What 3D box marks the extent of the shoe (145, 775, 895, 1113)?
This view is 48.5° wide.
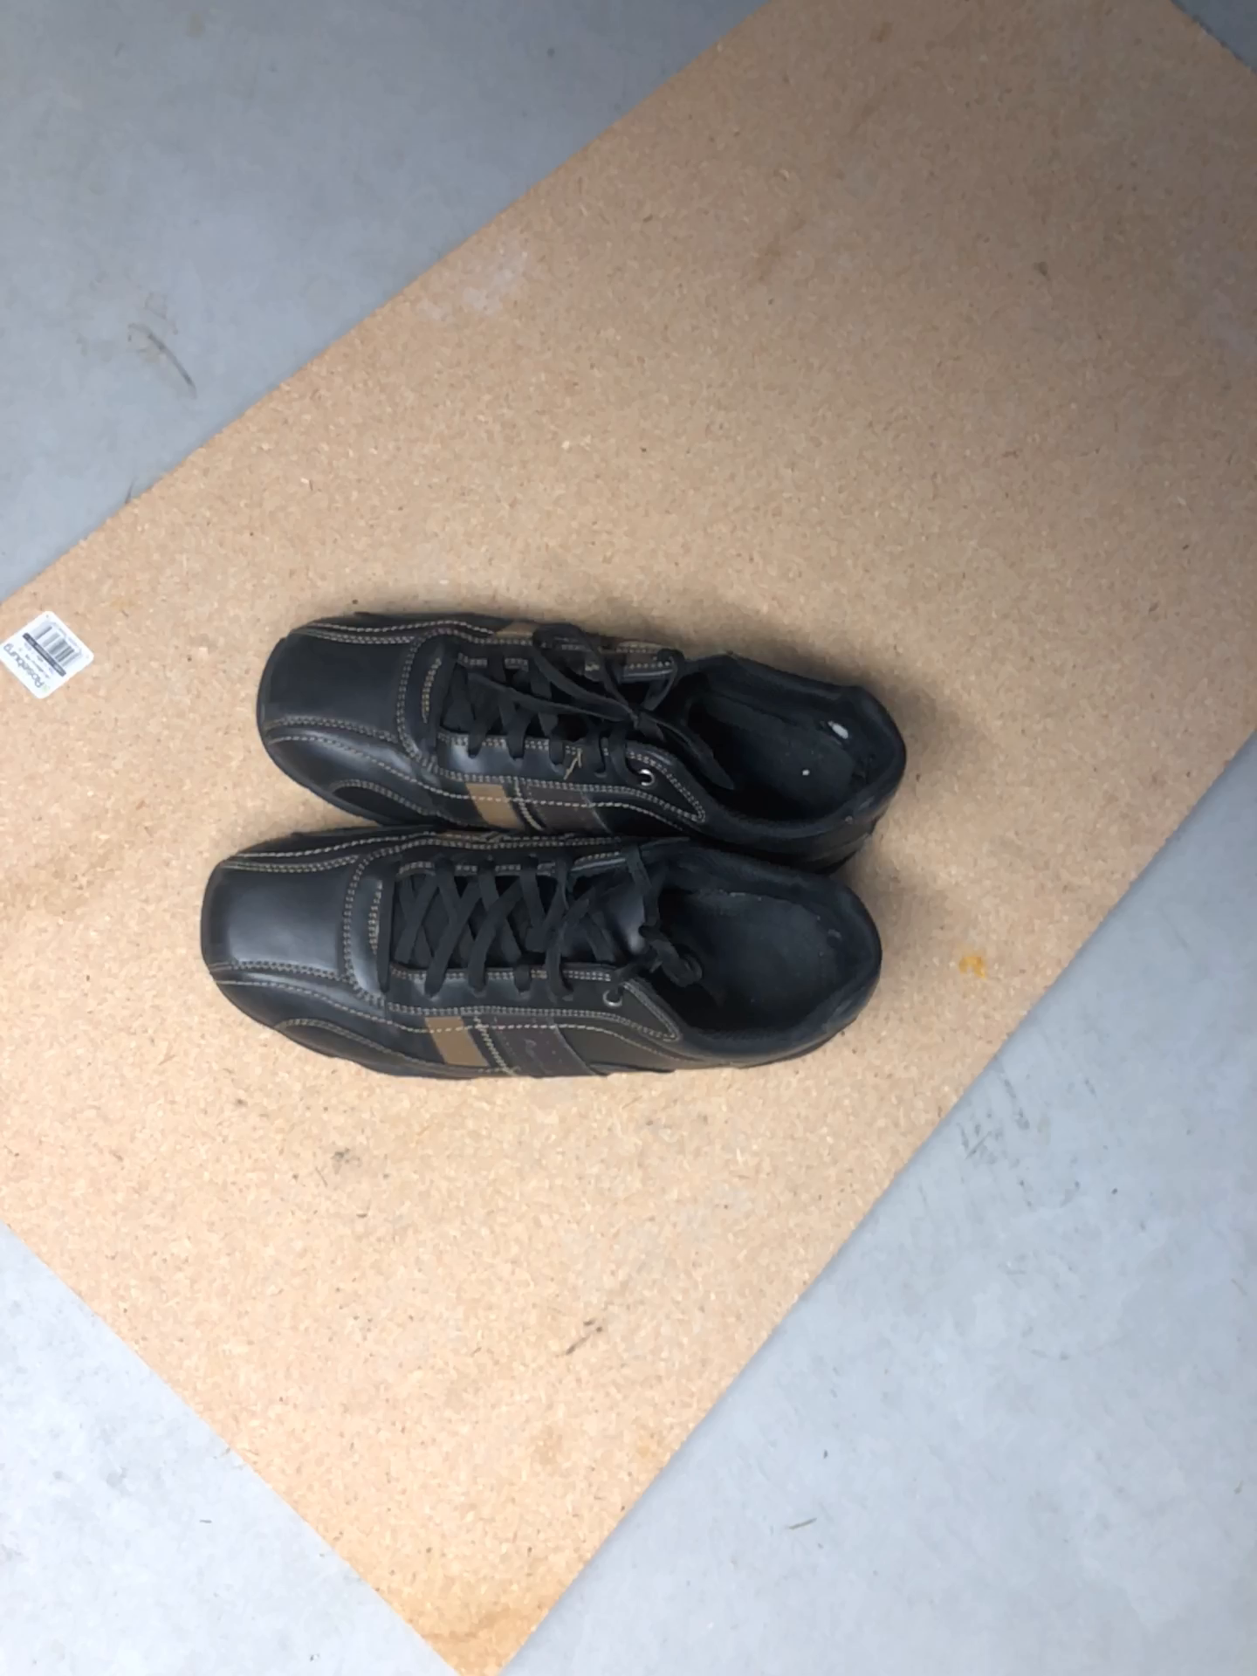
[{"bbox_3d":[-0.043,0.053,0.621,0.300,0.100,0.100,6,72,-6],"label":"shoe"}]

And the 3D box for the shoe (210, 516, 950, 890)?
[{"bbox_3d":[-0.020,-0.050,0.607,0.290,0.100,0.100,8,82,-10],"label":"shoe"}]
